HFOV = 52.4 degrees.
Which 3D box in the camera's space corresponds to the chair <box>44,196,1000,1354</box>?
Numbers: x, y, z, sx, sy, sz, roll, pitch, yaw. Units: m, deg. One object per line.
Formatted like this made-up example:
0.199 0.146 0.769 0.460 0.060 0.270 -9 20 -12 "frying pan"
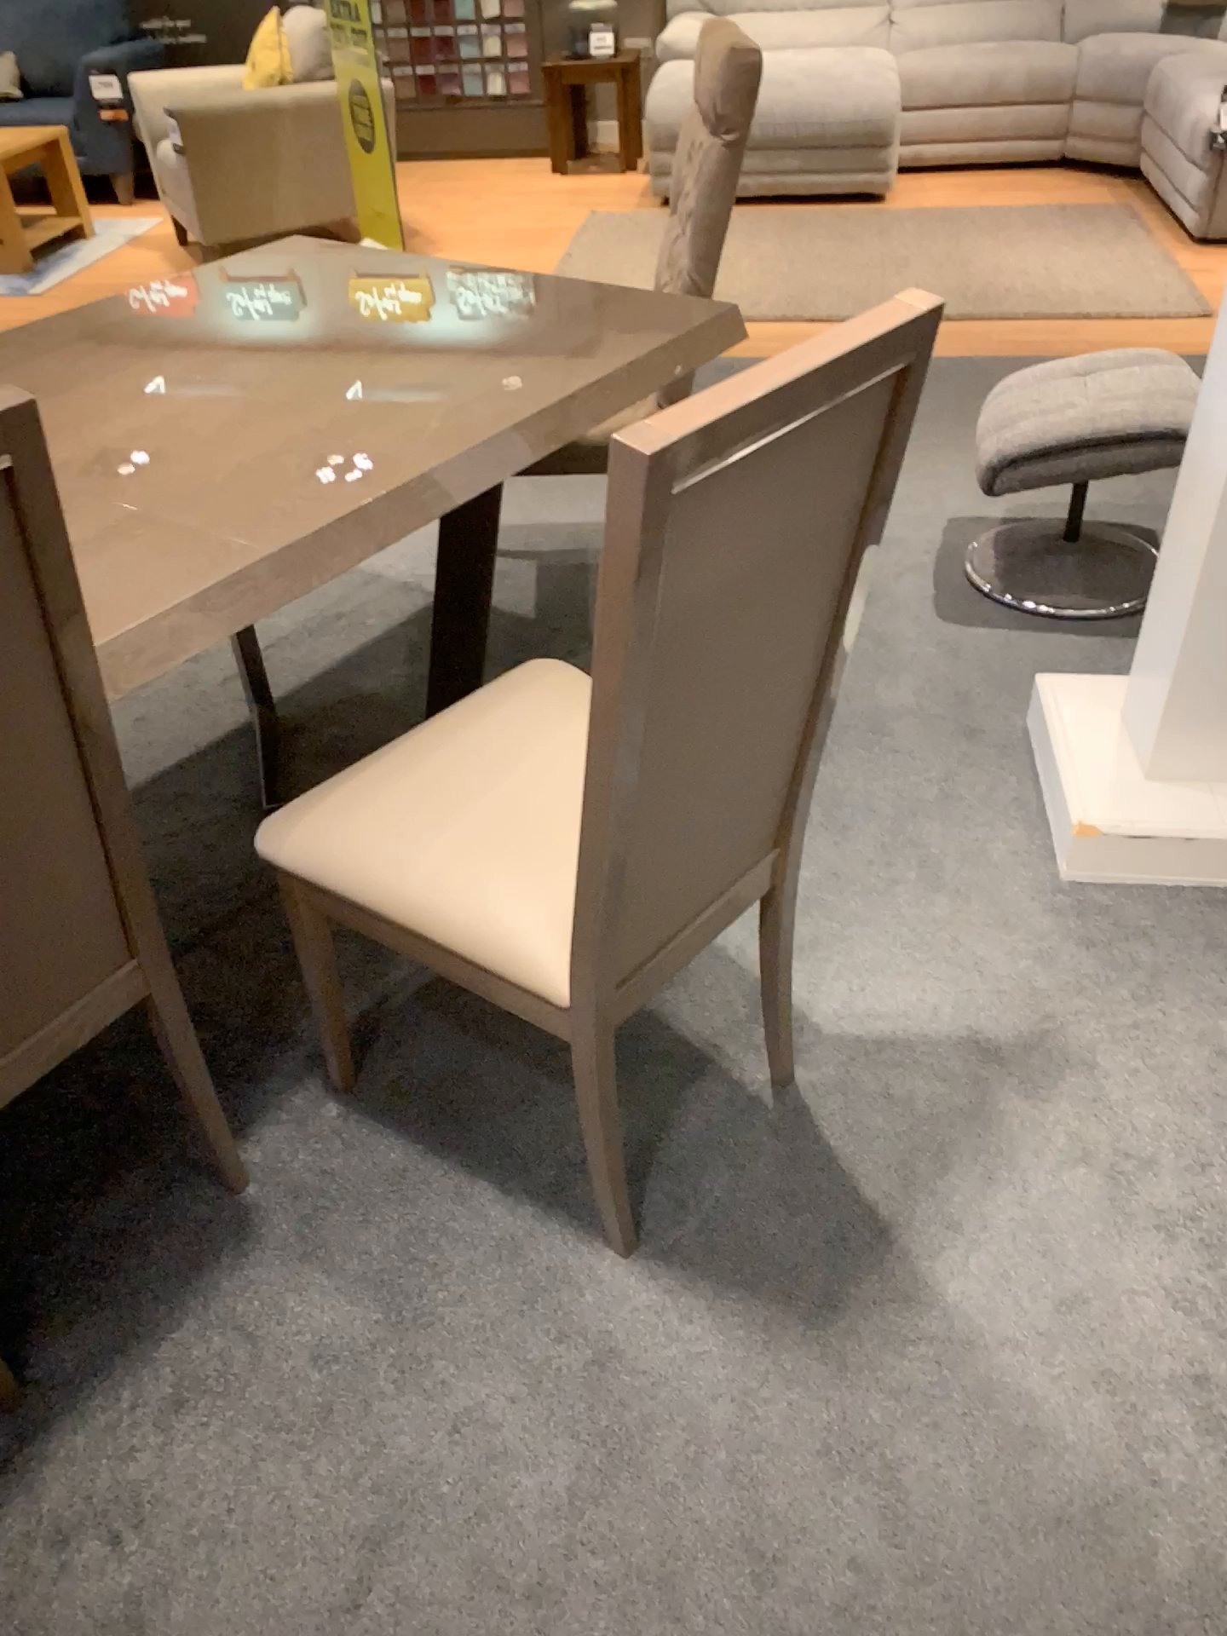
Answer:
-0.041 -0.060 1.318 0.588 0.946 0.541 22 44 30 "chair"
